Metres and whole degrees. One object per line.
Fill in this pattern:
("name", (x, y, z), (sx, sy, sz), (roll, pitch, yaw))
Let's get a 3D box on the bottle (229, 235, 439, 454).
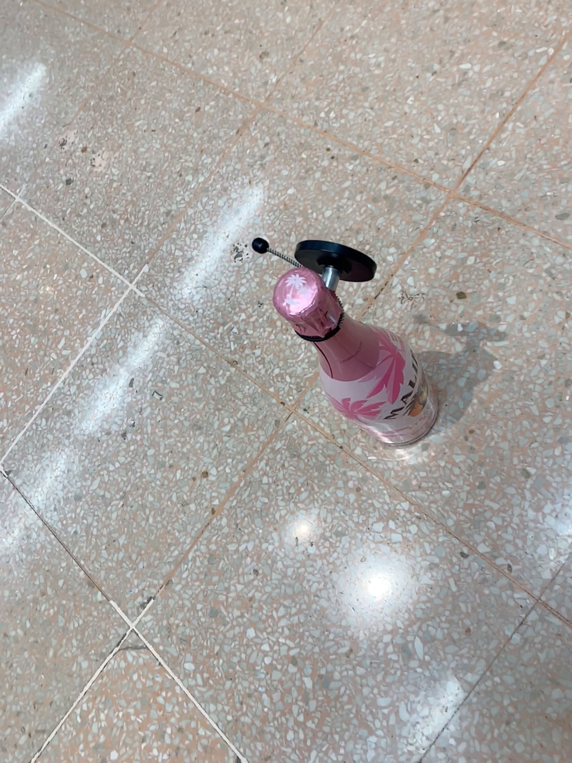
("bottle", (0.060, -0.005, 0.459), (0.080, 0.288, 0.080), (-6, 73, 21))
